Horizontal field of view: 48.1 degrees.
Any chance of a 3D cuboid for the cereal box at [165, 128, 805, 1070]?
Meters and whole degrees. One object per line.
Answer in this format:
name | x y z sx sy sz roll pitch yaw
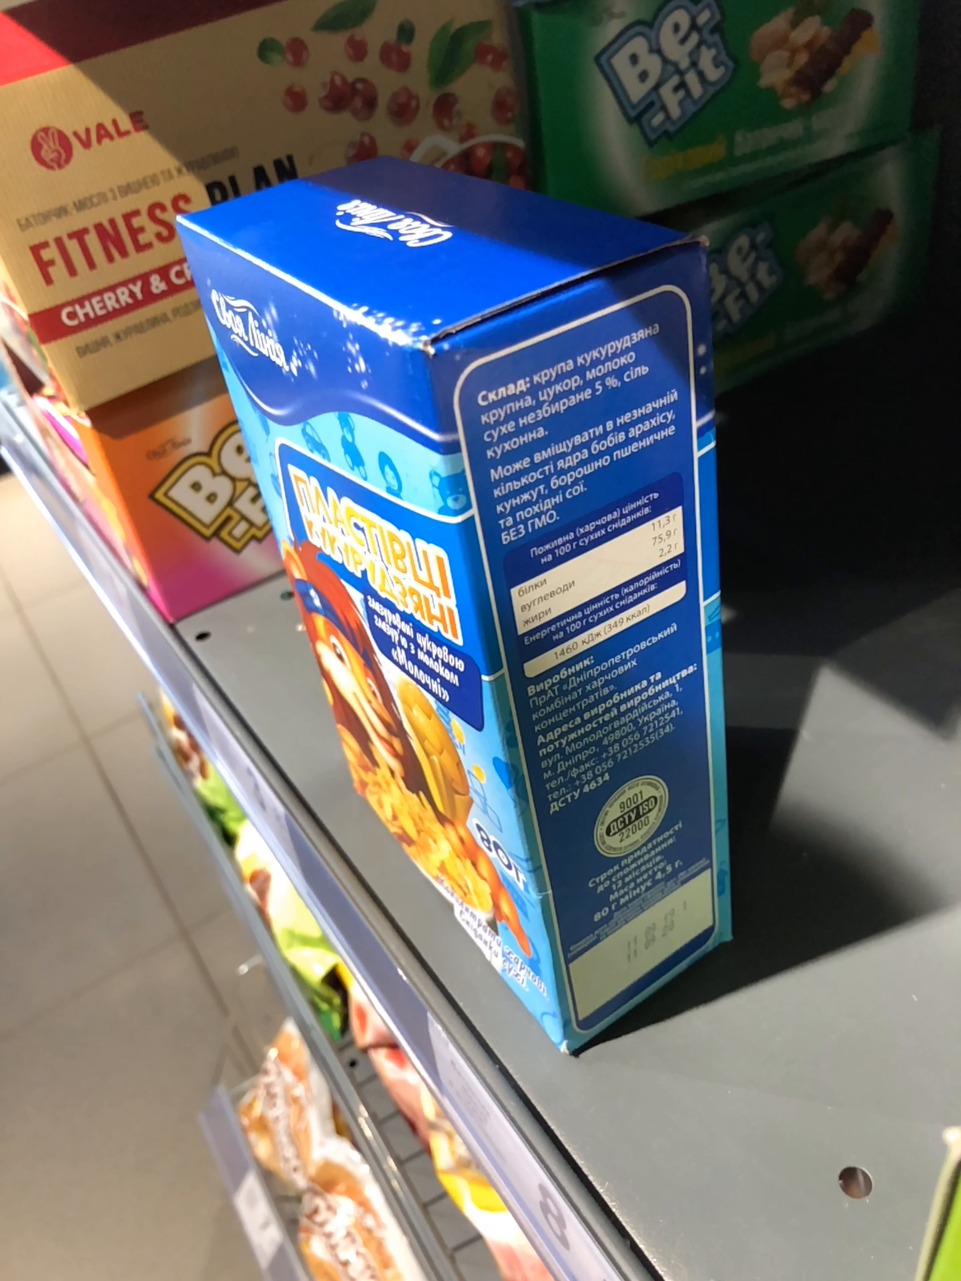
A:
cereal box | 0.004 -0.011 0.243 0.060 0.169 0.121 -27 40 -20
